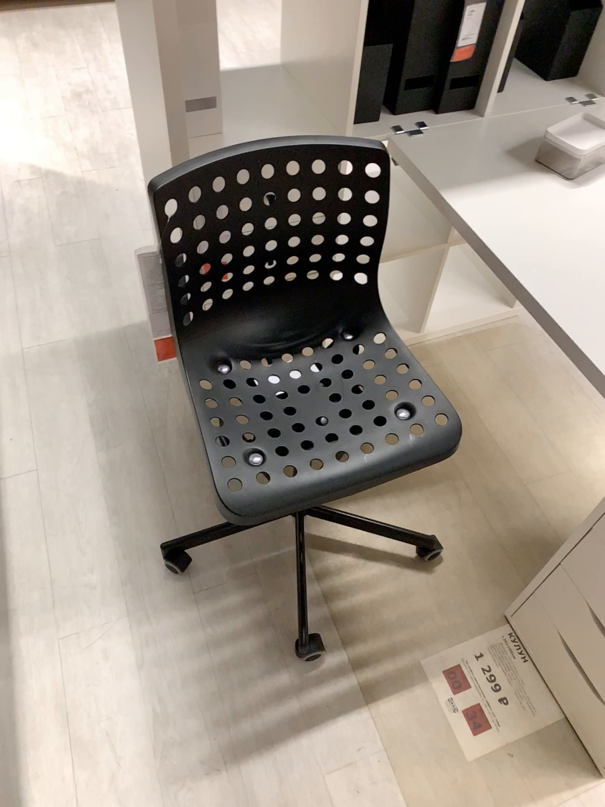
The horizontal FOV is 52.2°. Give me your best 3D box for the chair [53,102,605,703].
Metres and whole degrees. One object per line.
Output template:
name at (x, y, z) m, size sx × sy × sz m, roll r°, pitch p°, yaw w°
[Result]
chair at (-0.013, 0.019, 1.297) m, size 0.681 × 0.866 × 0.752 m, roll -14°, pitch 54°, yaw -14°
